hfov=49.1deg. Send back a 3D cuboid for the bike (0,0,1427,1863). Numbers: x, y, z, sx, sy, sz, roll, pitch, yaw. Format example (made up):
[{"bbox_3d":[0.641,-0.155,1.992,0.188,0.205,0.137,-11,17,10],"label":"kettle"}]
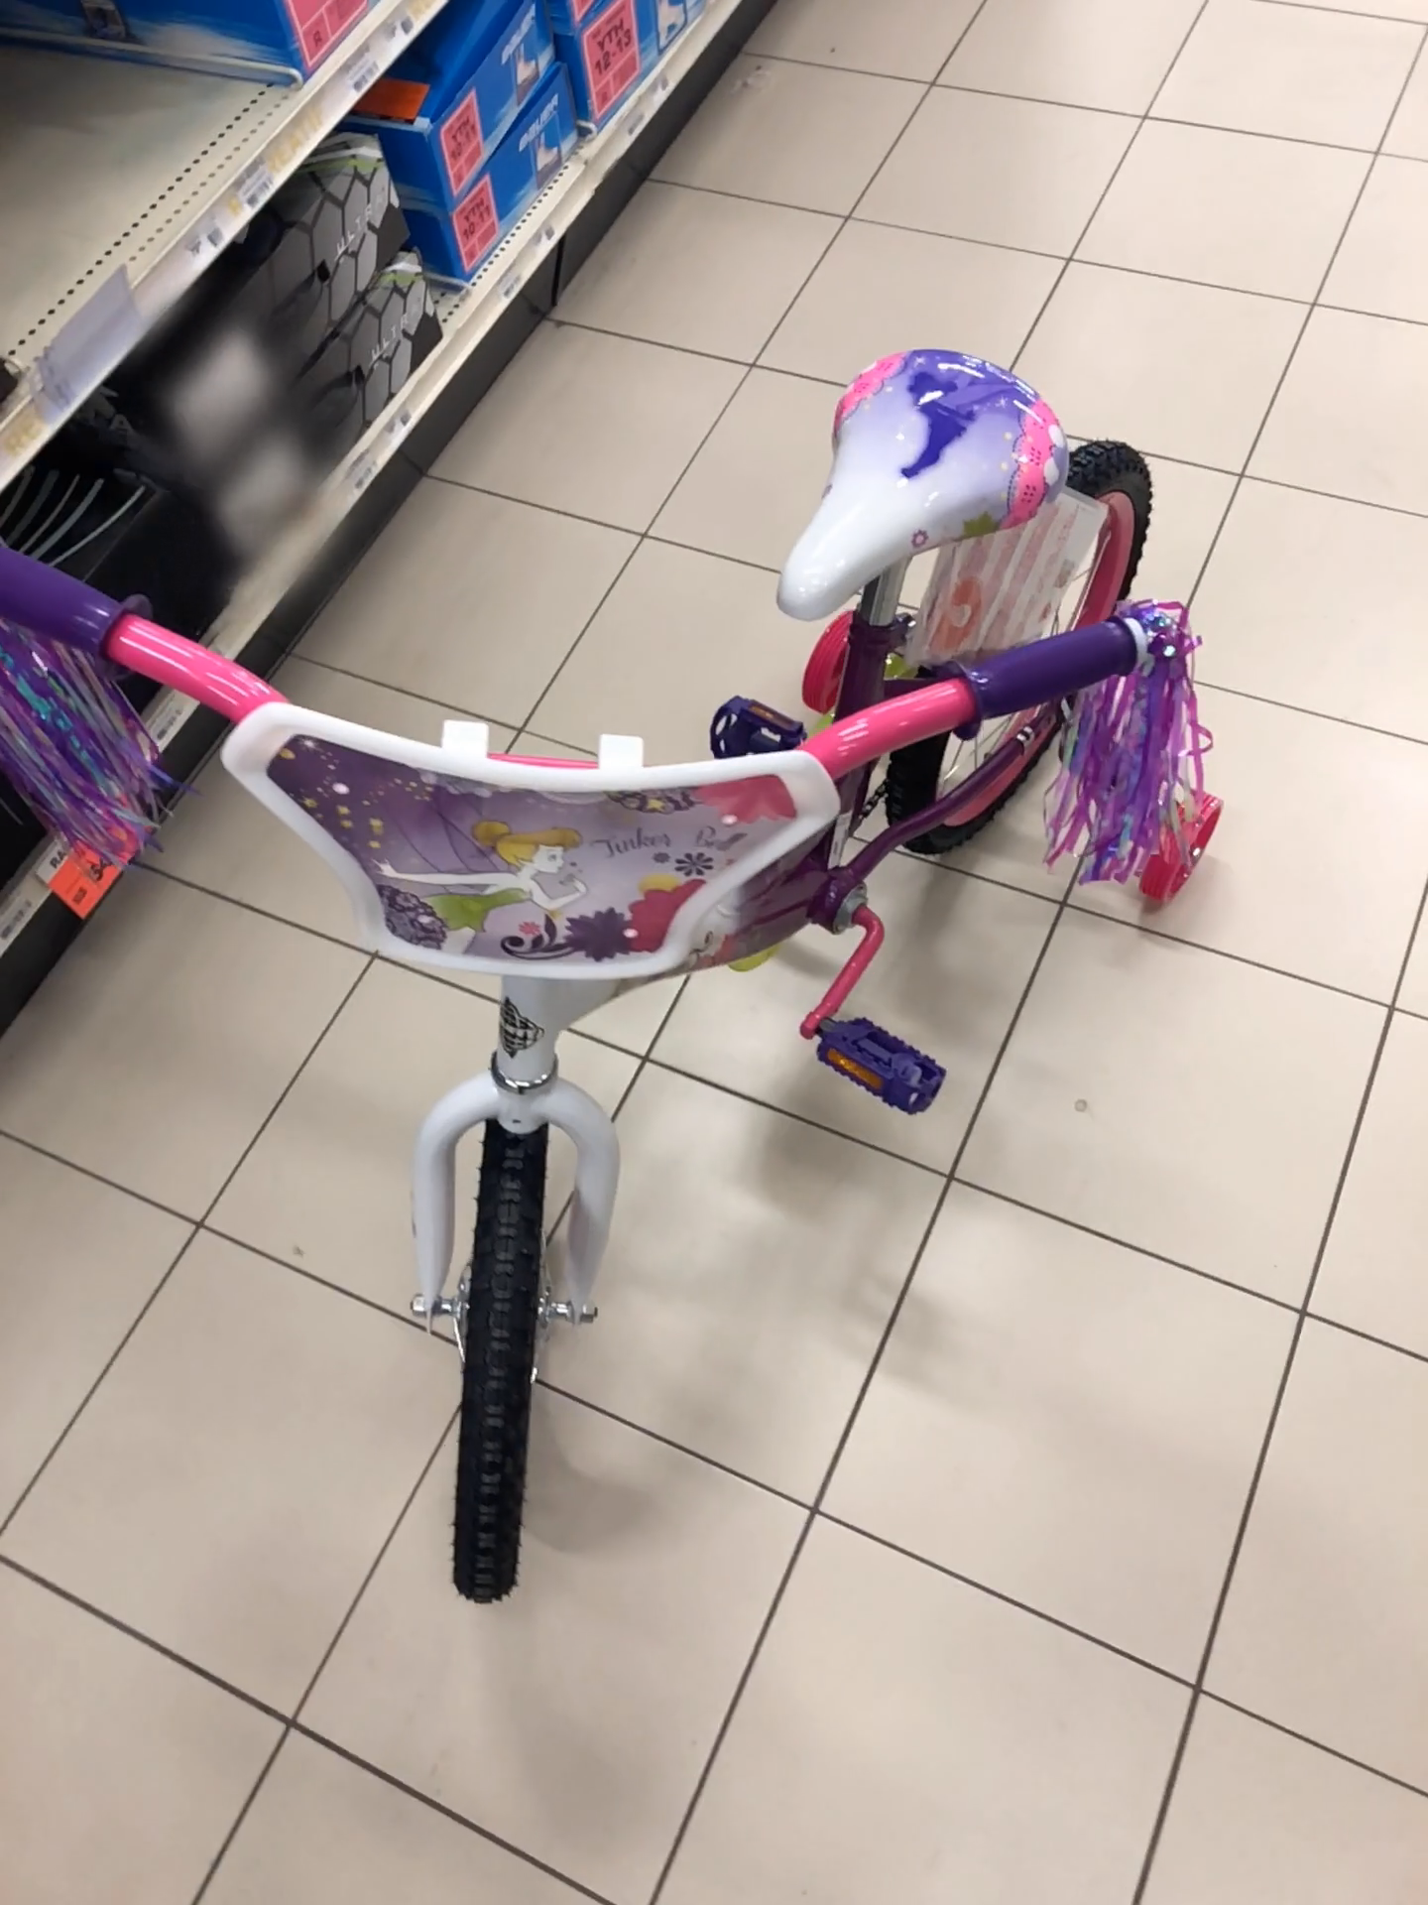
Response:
[{"bbox_3d":[0.080,-0.107,1.050,0.596,0.810,1.068,25,66,20],"label":"bike"}]
